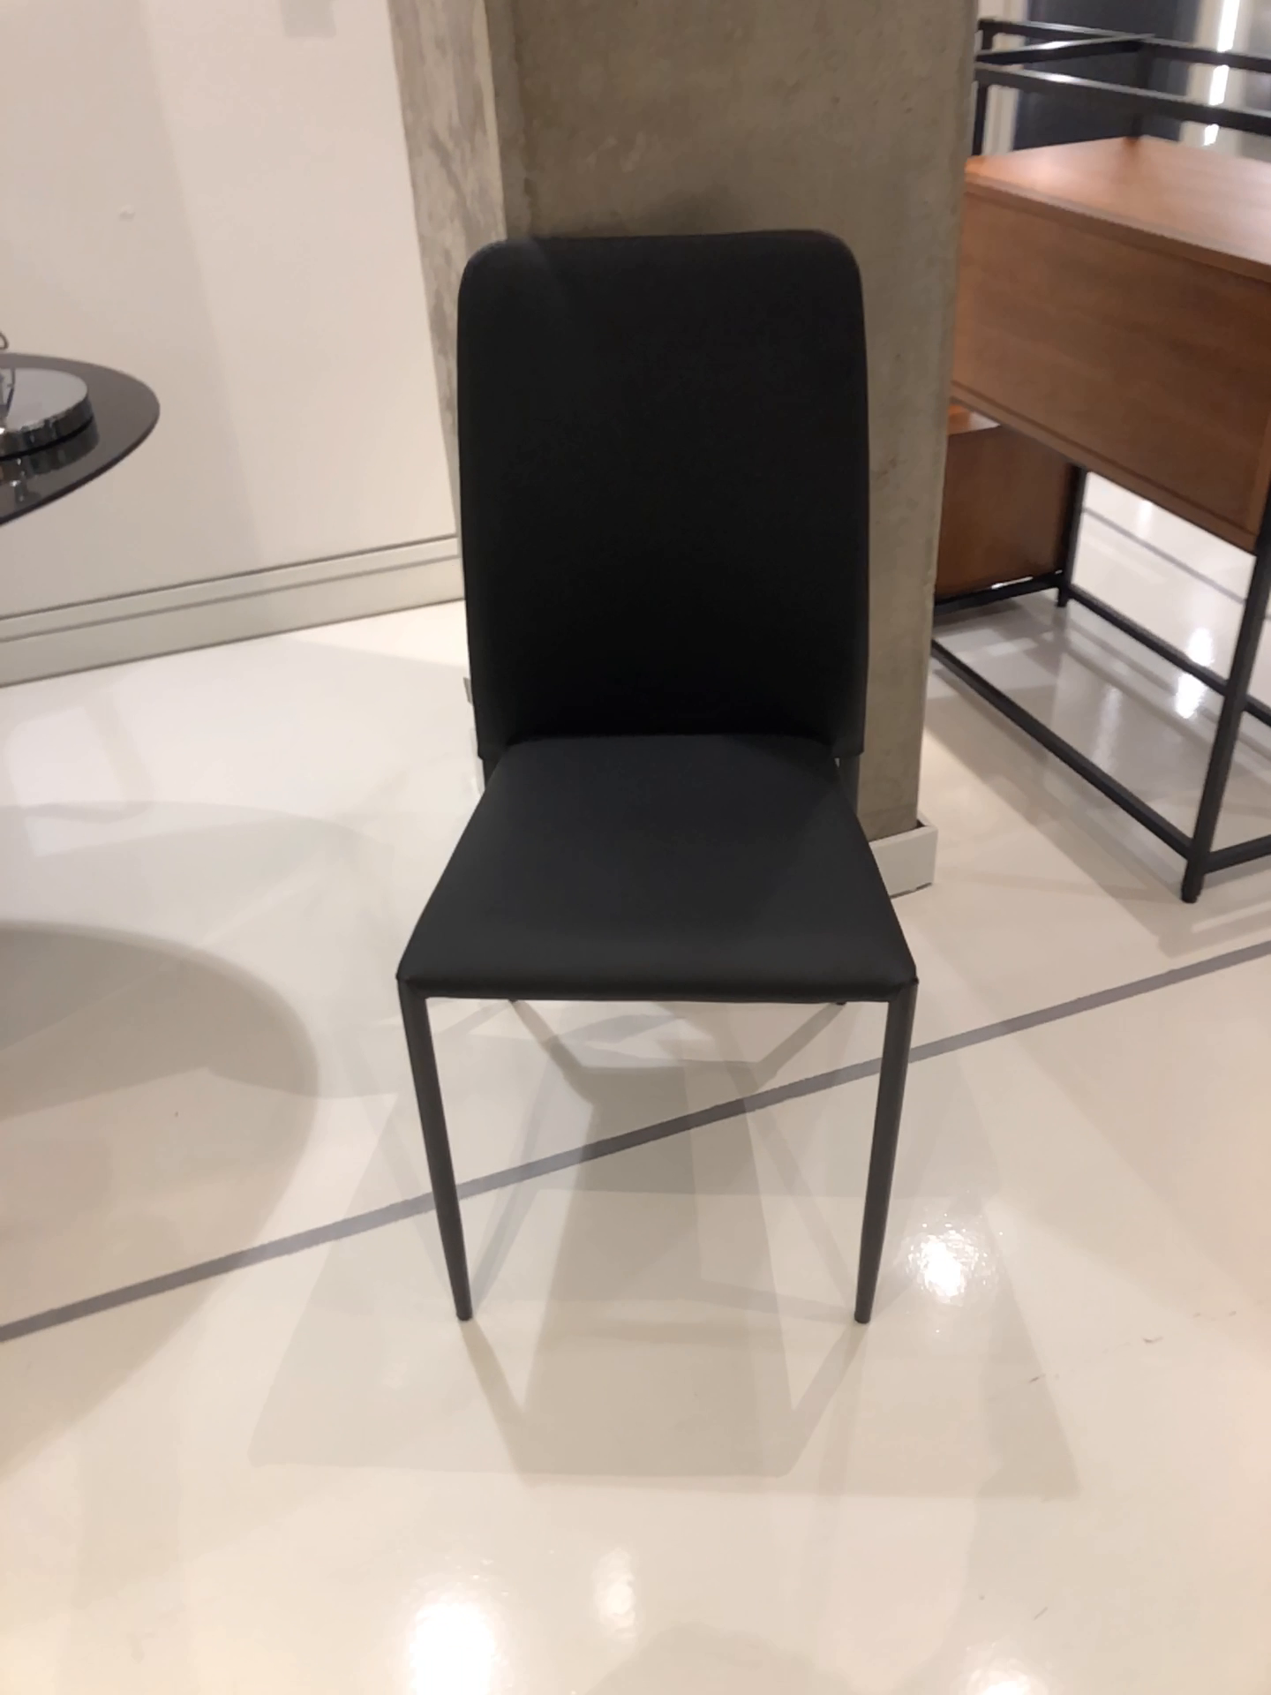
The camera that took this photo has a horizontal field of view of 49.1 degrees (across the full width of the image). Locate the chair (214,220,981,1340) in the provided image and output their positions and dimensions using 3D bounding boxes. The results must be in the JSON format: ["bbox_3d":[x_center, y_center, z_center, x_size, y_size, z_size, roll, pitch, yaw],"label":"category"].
[{"bbox_3d":[0.015,-0.053,1.318,0.470,0.883,0.544,0,35,5],"label":"chair"}]
